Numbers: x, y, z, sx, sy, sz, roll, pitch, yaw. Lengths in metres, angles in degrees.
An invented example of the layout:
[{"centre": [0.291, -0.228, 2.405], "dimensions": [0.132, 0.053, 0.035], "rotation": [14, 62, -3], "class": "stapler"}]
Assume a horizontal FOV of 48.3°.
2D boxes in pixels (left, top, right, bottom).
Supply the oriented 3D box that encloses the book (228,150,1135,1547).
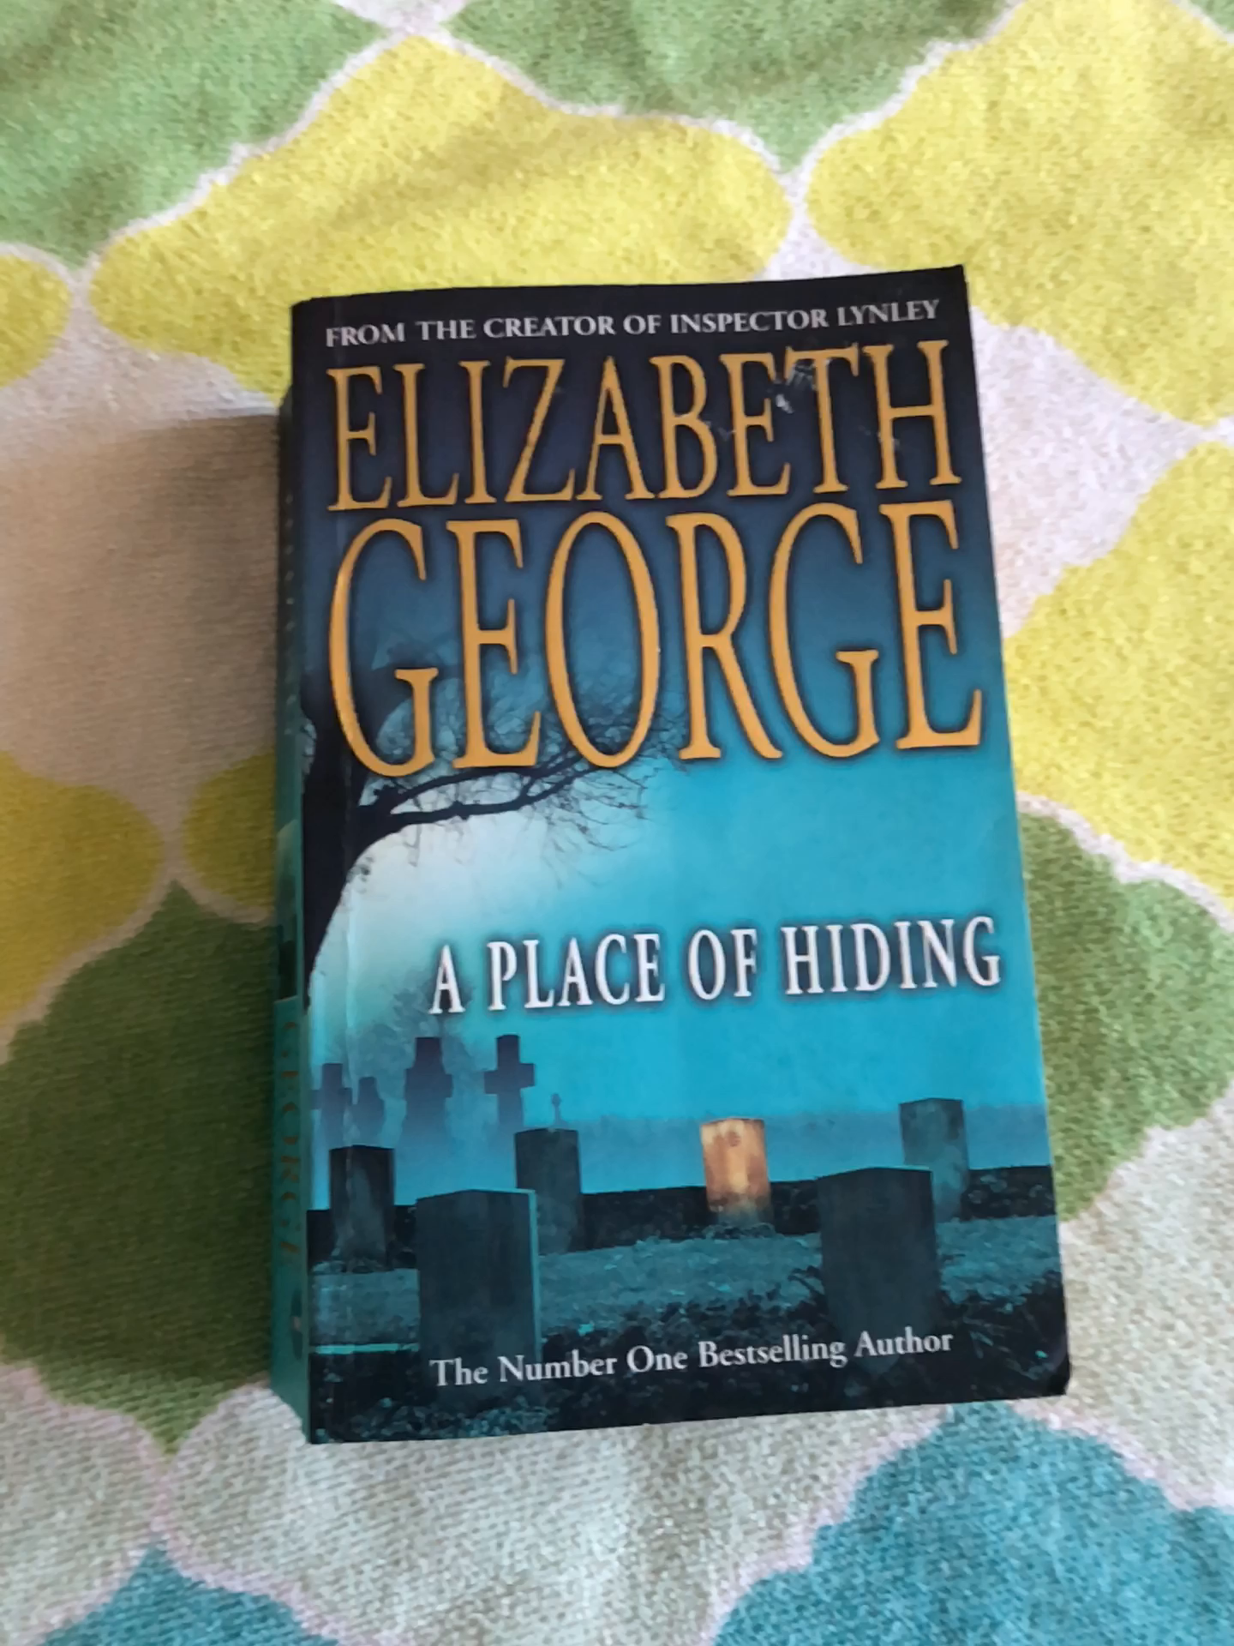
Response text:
[{"centre": [0.004, -0.001, 0.250], "dimensions": [0.130, 0.070, 0.210], "rotation": [-3, 83, -9], "class": "book"}]
